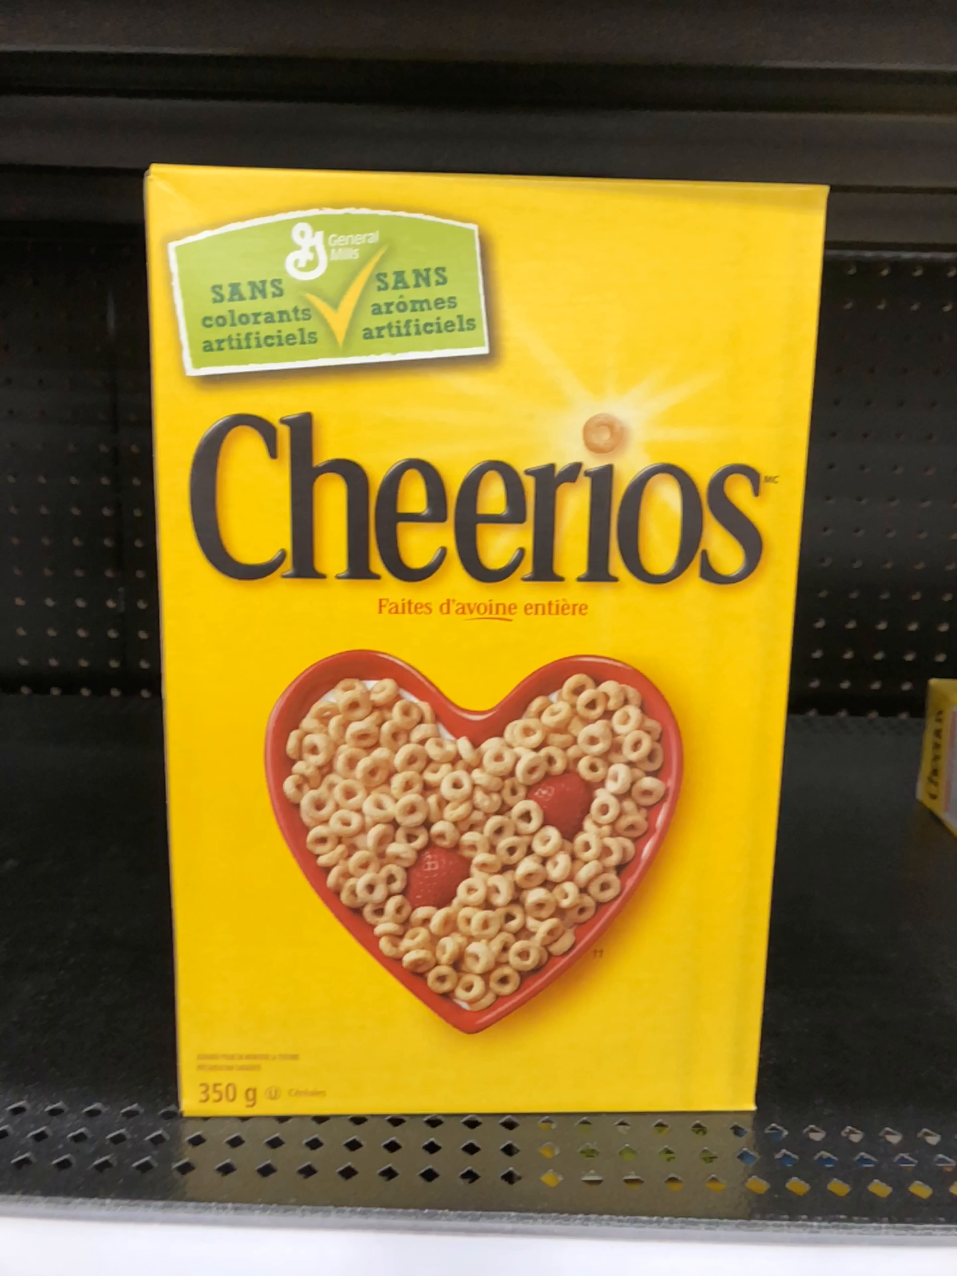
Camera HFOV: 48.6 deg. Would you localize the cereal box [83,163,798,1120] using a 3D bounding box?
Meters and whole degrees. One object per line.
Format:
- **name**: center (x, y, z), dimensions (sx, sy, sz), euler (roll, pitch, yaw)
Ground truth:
- **cereal box**: center (-0.015, 0.007, 0.381), dimensions (0.210, 0.309, 0.080), euler (1, 11, -3)
